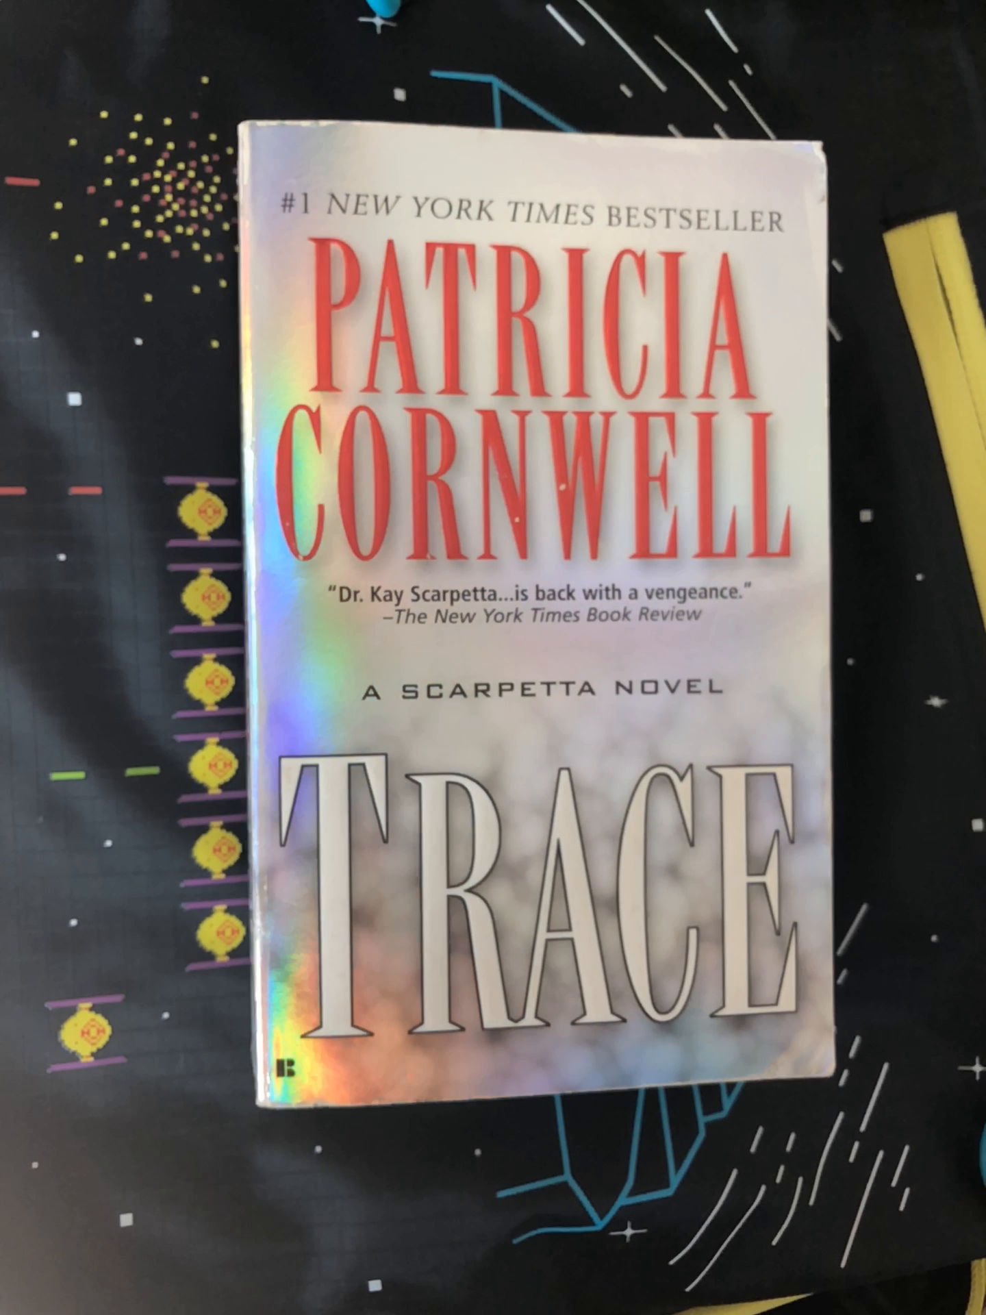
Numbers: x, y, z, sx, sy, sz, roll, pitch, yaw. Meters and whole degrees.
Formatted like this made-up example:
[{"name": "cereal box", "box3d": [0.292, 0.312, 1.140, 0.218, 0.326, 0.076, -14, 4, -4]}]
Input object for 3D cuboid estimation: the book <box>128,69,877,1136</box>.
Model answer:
[{"name": "book", "box3d": [0.002, -0.009, 0.201, 0.120, 0.040, 0.170, -1, 91, -4]}]
